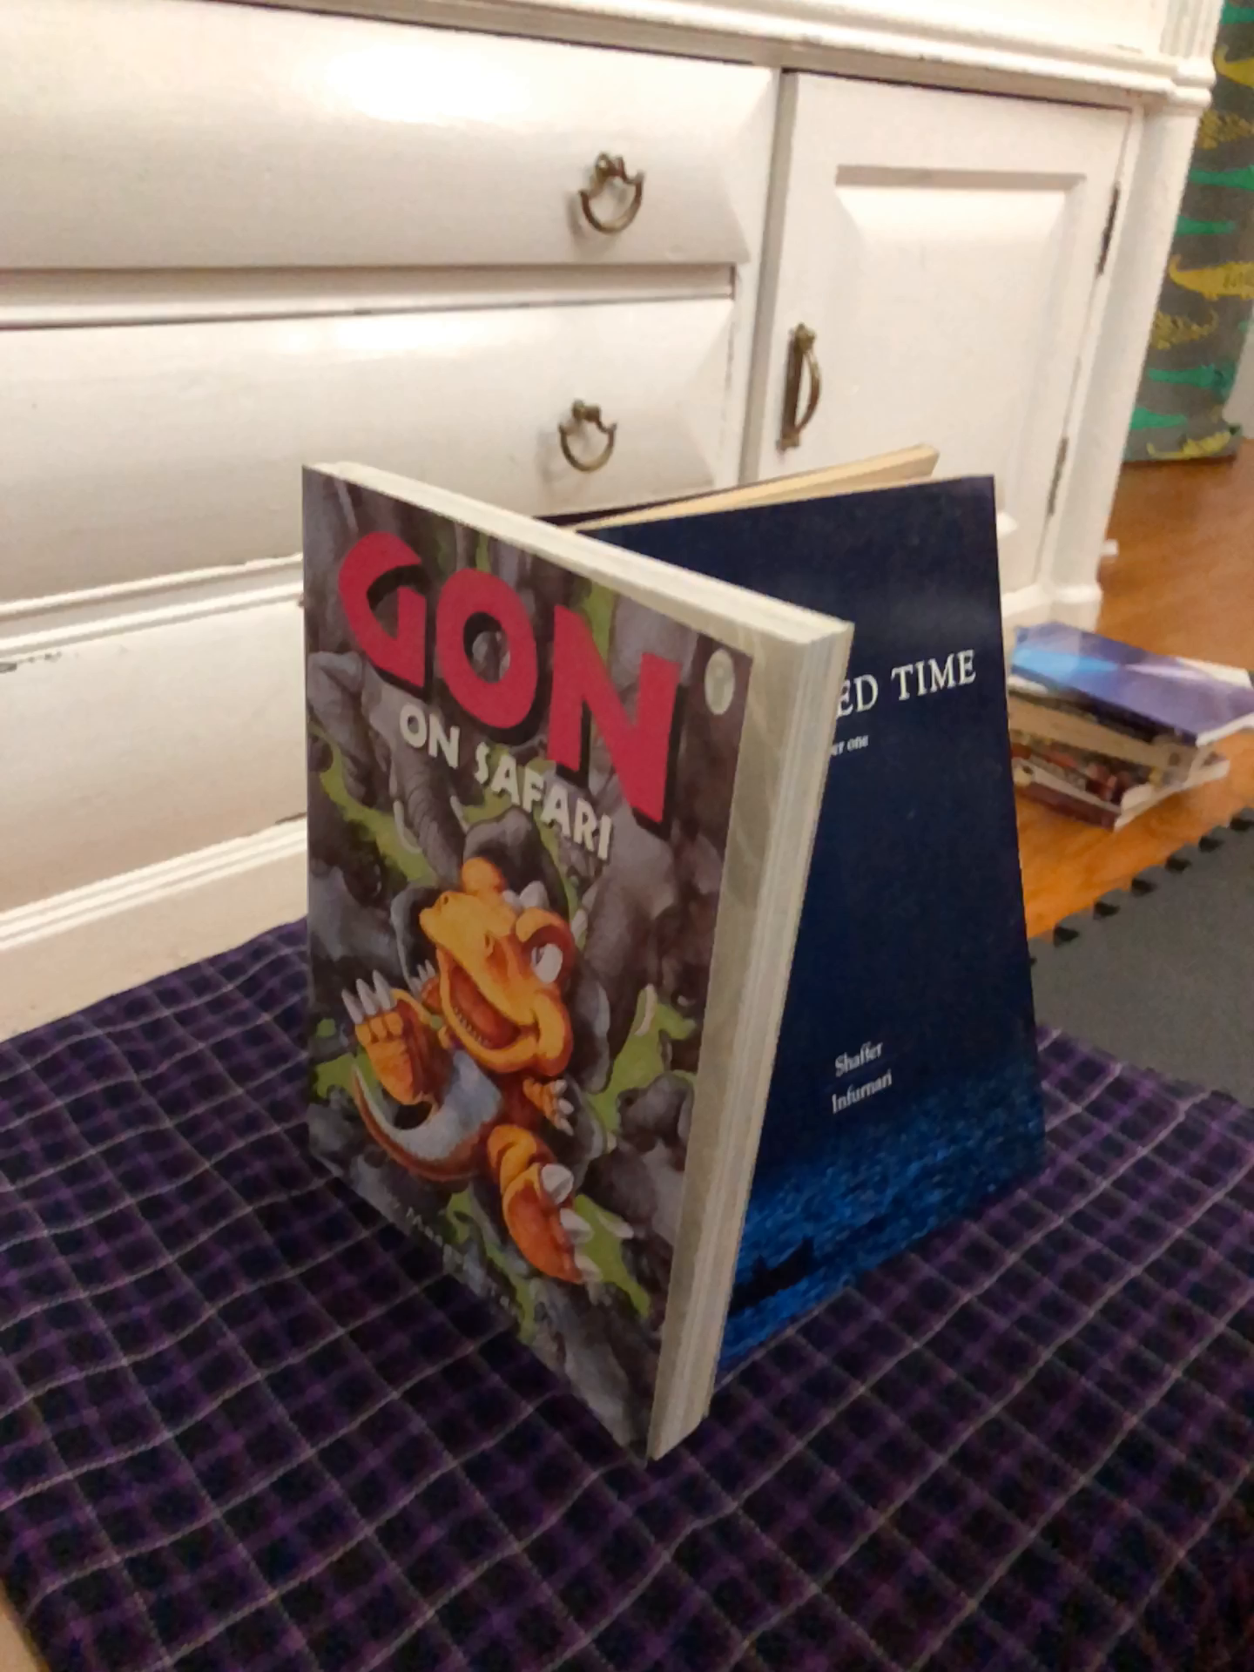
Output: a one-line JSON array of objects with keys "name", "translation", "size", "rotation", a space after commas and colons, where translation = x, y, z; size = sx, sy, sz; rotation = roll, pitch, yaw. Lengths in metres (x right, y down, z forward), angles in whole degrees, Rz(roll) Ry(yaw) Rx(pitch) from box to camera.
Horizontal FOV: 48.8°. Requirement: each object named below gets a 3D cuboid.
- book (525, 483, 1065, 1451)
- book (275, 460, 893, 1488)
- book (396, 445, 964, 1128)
[{"name": "book", "translation": [0.054, 0.022, 0.342], "size": [0.150, 0.199, 0.010], "rotation": [-19, 15, -39]}, {"name": "book", "translation": [-0.025, 0.026, 0.309], "size": [0.140, 0.189, 0.020], "rotation": [26, 27, 36]}, {"name": "book", "translation": [0.011, -0.010, 0.392], "size": [0.140, 0.199, 0.010], "rotation": [-24, 57, -40]}]
